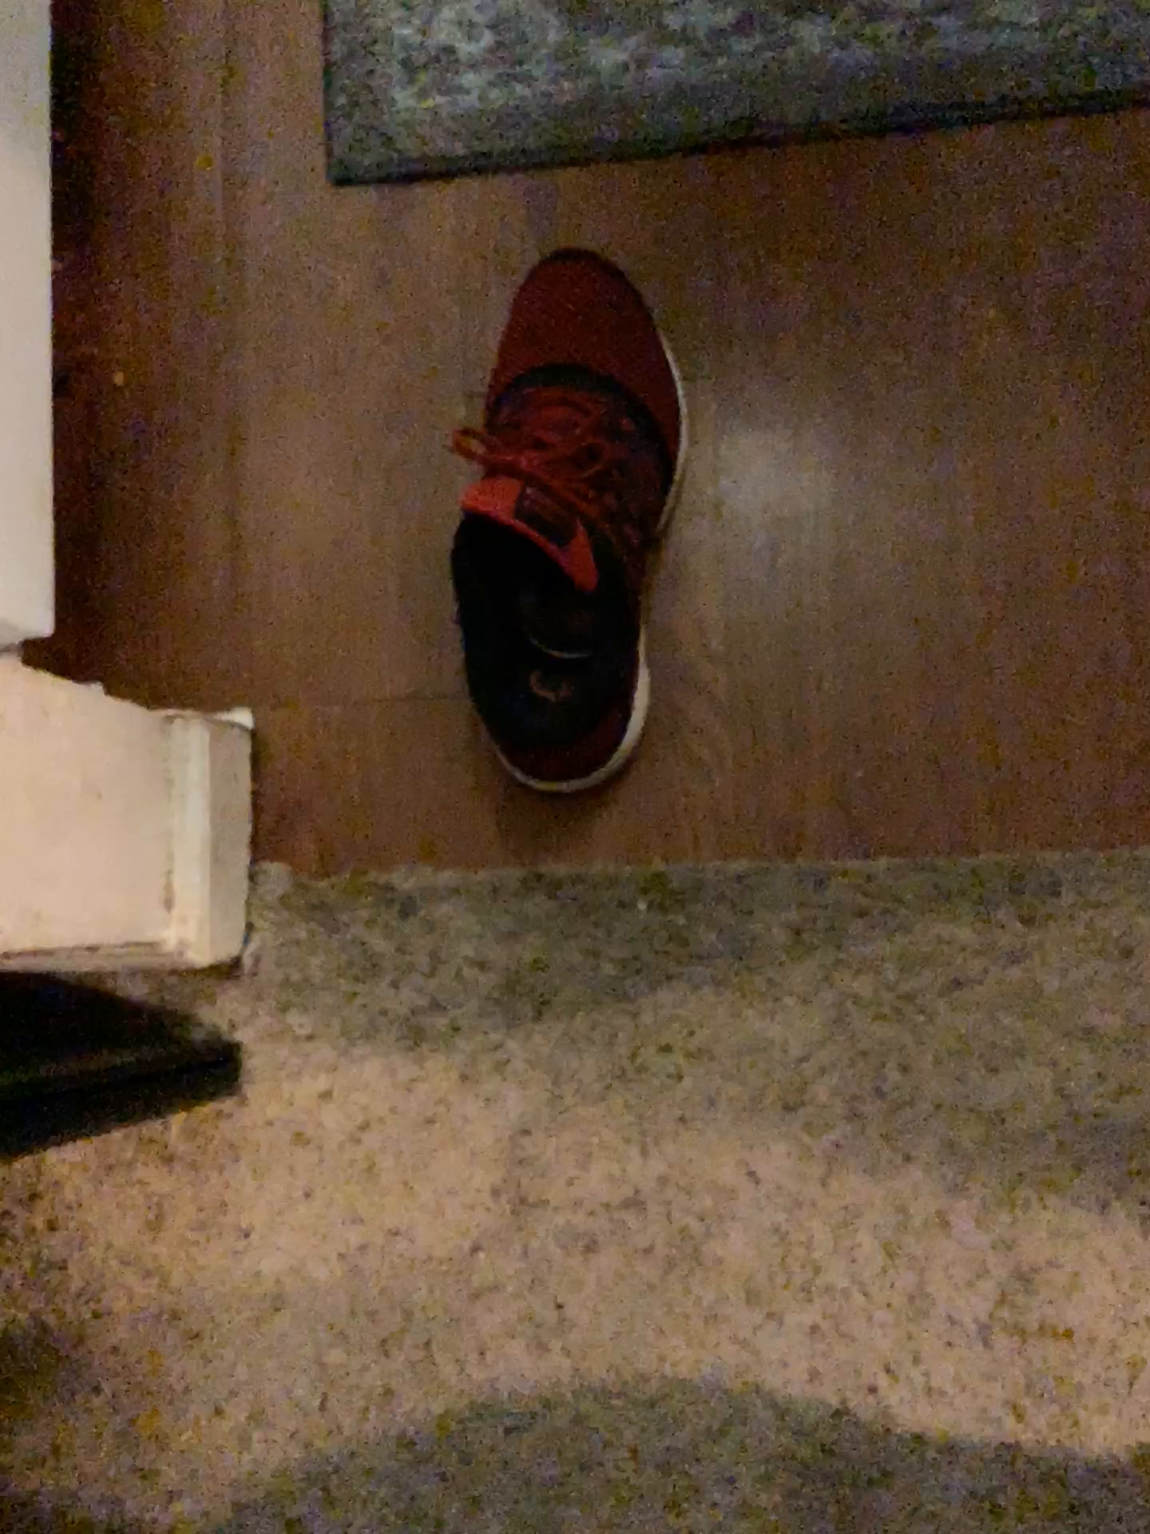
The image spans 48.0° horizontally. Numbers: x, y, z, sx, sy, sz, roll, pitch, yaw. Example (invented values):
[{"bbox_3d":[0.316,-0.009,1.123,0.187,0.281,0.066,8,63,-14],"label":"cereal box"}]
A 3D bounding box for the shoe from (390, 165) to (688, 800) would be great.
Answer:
[{"bbox_3d":[-0.010,-0.140,0.691,0.130,0.140,0.300,2,84,5],"label":"shoe"}]
